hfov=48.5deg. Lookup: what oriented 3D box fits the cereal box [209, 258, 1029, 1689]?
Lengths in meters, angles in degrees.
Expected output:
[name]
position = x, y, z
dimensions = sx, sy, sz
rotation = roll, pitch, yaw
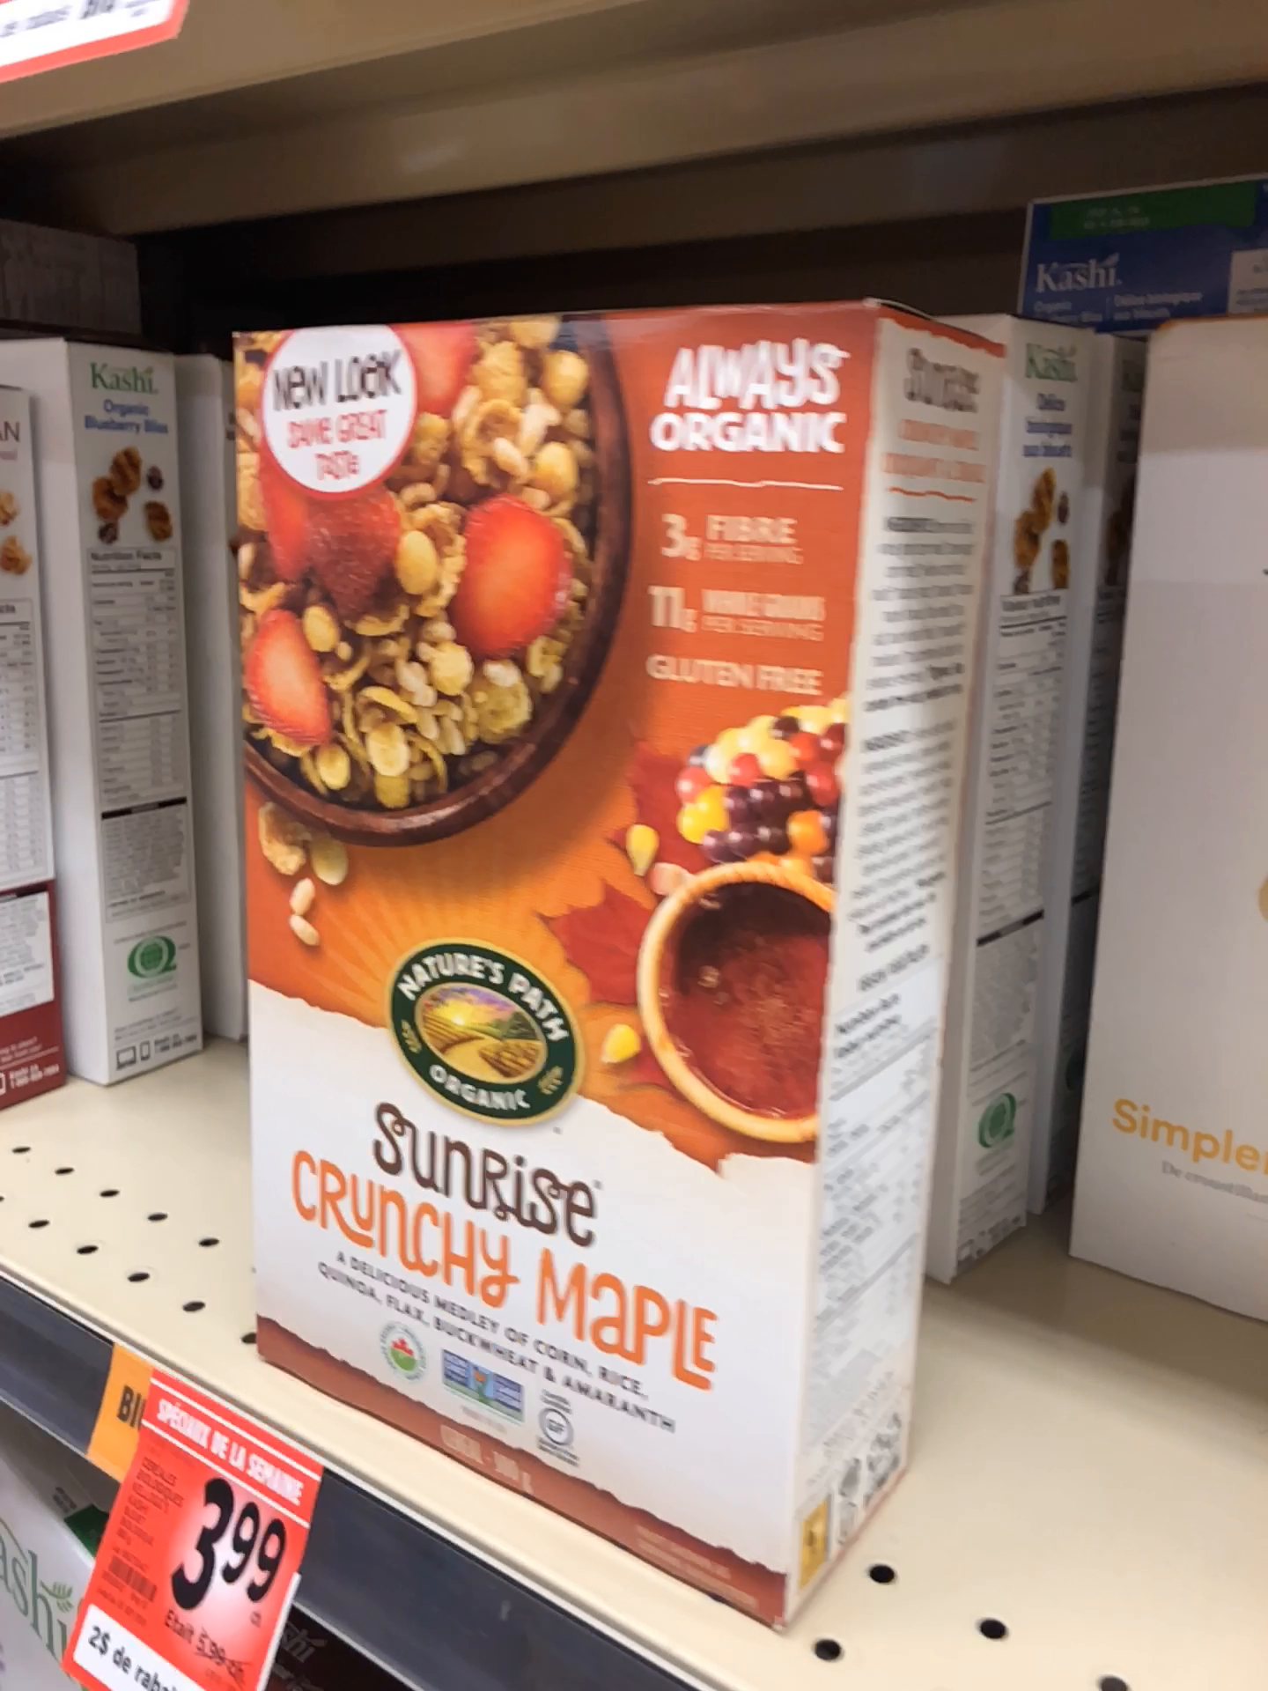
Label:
[cereal box]
position = -0.014, 0.019, 0.325
dimensions = 0.170, 0.269, 0.060
rotation = 10, 15, 34
